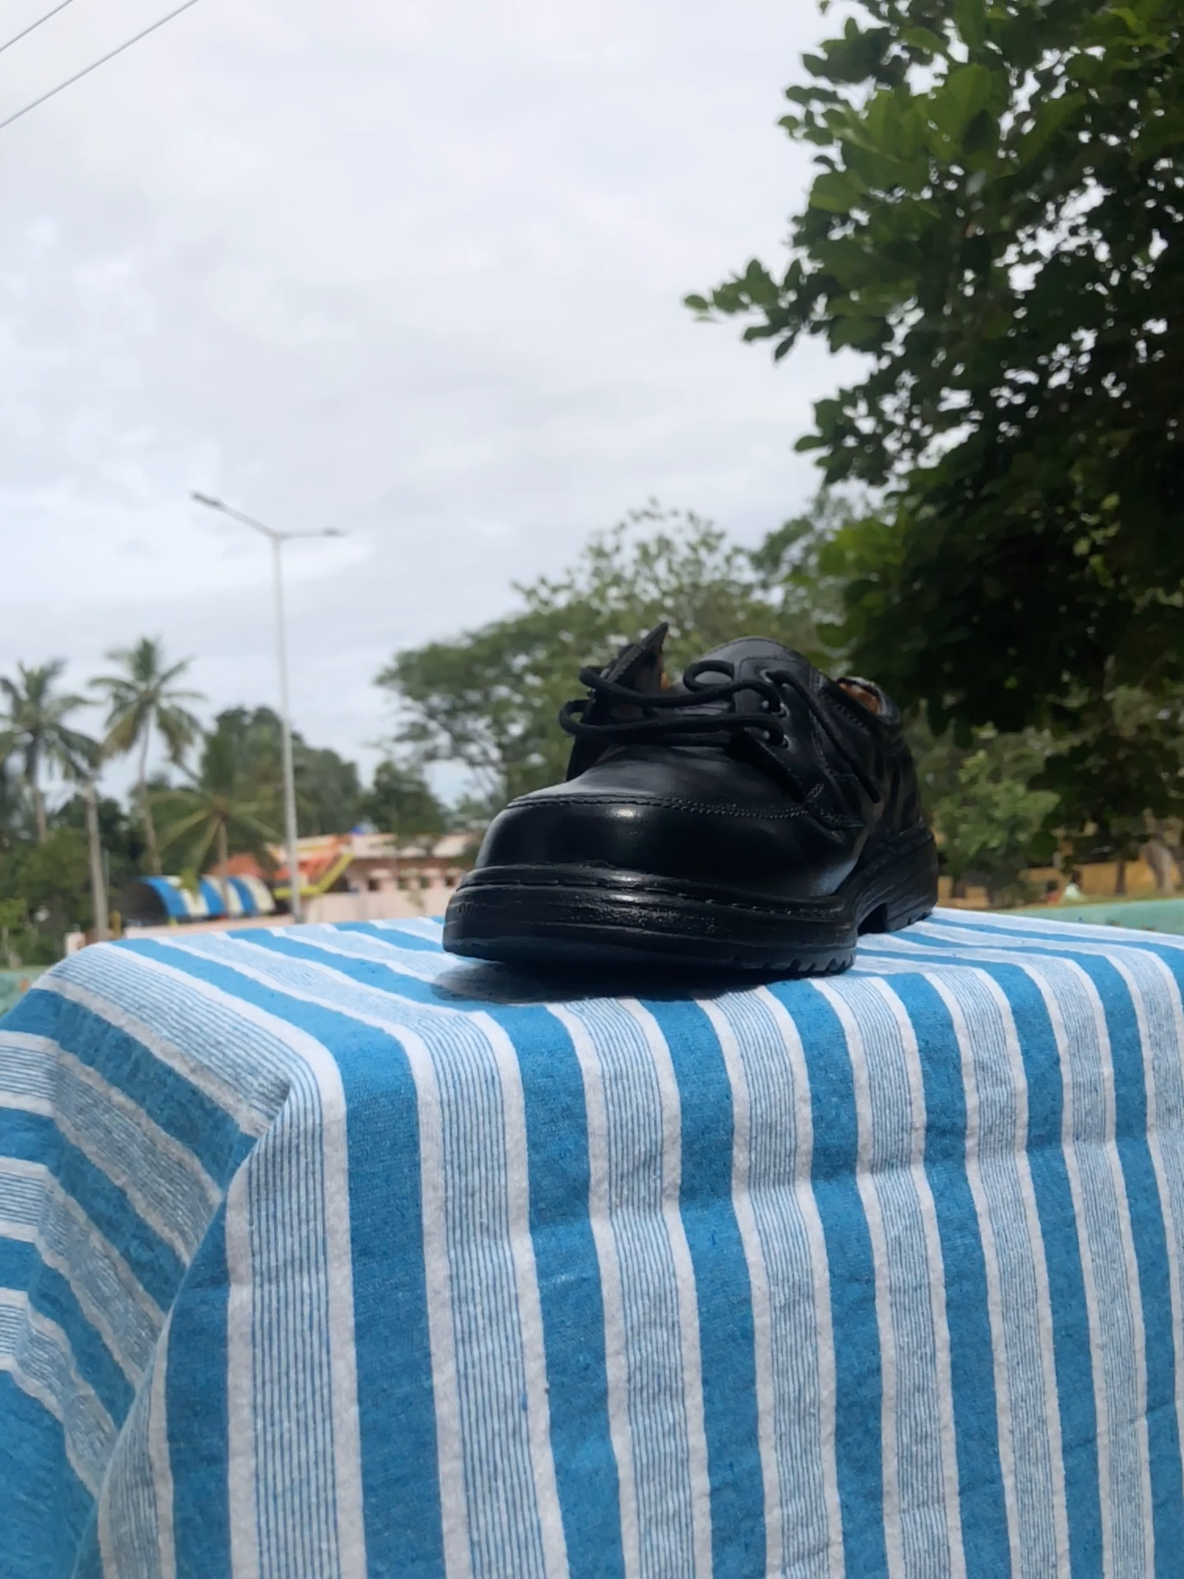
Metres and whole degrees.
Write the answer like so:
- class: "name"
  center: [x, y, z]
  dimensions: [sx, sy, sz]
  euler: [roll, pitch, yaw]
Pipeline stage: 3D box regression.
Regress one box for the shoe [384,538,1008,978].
- class: "shoe"
  center: [0.060, 0.000, 0.452]
  dimensions: [0.110, 0.100, 0.290]
  euler: [-2, -3, 27]
